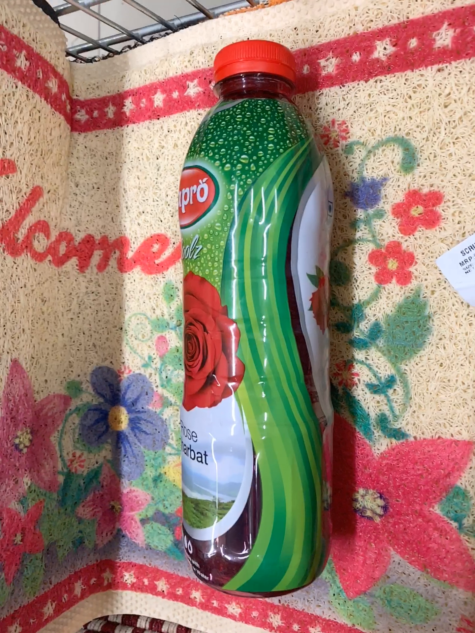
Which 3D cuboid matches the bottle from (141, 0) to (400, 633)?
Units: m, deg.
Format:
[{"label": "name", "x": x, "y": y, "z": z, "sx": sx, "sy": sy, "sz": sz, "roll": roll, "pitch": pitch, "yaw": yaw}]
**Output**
[{"label": "bottle", "x": 0.015, "y": -0.008, "z": 0.226, "sx": 0.080, "sy": 0.080, "sz": 0.250, "roll": 7, "pitch": 100, "yaw": 55}]
